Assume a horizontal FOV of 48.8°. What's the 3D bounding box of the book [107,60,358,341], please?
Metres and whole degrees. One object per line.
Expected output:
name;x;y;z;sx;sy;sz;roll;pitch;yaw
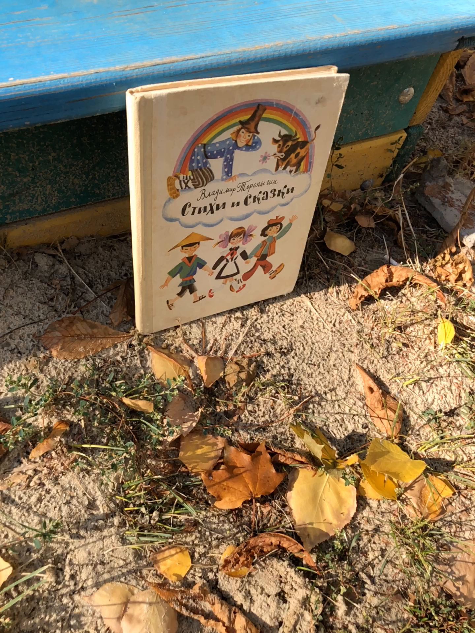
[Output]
book;-0.005;-0.086;0.428;0.178;0.213;0.024;-17;49;-22
